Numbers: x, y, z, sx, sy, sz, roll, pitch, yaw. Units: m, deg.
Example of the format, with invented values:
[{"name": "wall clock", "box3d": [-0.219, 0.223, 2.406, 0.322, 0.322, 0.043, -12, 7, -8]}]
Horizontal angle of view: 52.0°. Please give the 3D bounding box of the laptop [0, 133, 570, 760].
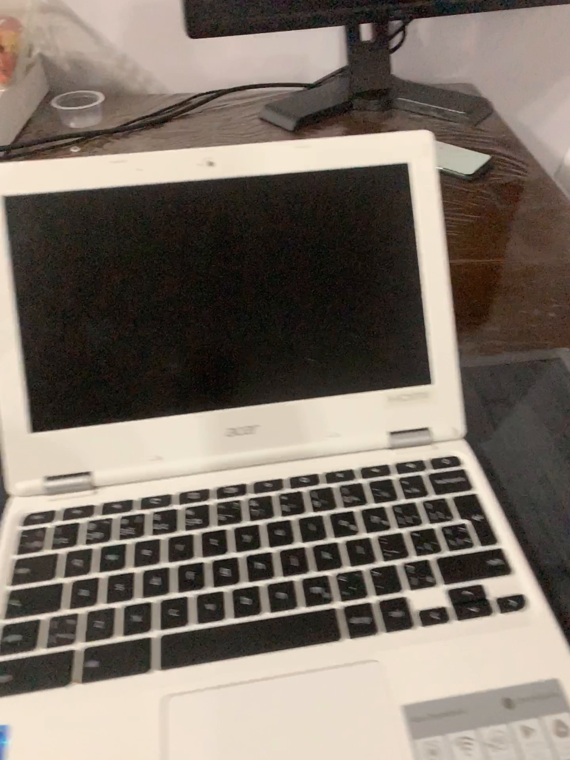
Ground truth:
[{"name": "laptop", "box3d": [-0.020, 0.023, 0.292, 0.284, 0.142, 0.329, -6, 45, -6]}]
